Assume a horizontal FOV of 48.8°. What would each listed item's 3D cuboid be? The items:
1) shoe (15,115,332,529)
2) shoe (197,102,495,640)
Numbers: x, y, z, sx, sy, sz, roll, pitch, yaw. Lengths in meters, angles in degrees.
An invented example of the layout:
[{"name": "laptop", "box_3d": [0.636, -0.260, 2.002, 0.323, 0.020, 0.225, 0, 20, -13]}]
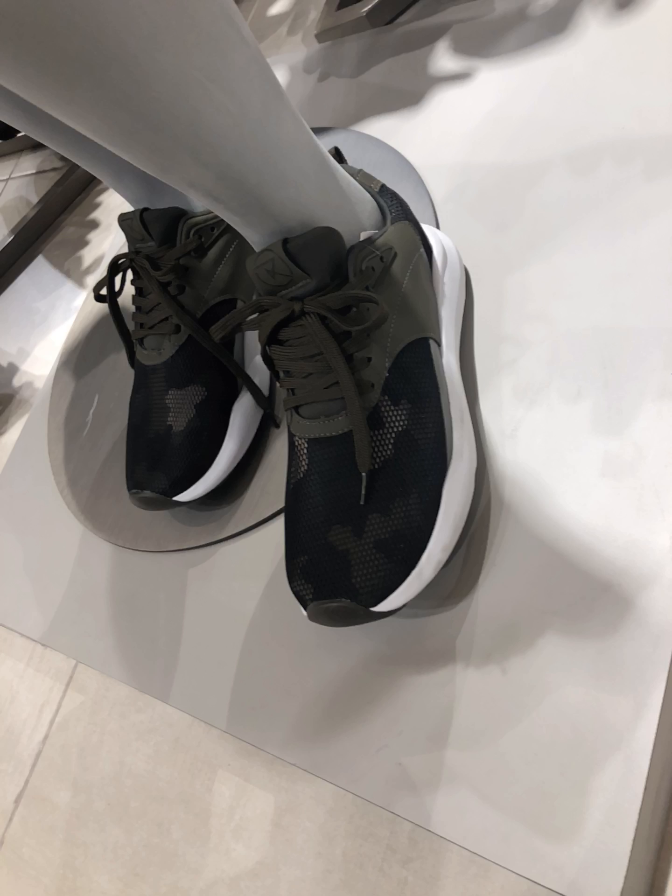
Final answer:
[{"name": "shoe", "box_3d": [-0.105, -0.087, 0.540, 0.100, 0.119, 0.260, 0, 66, 34]}, {"name": "shoe", "box_3d": [0.019, -0.042, 0.434, 0.110, 0.109, 0.281, -11, 60, 29]}]
